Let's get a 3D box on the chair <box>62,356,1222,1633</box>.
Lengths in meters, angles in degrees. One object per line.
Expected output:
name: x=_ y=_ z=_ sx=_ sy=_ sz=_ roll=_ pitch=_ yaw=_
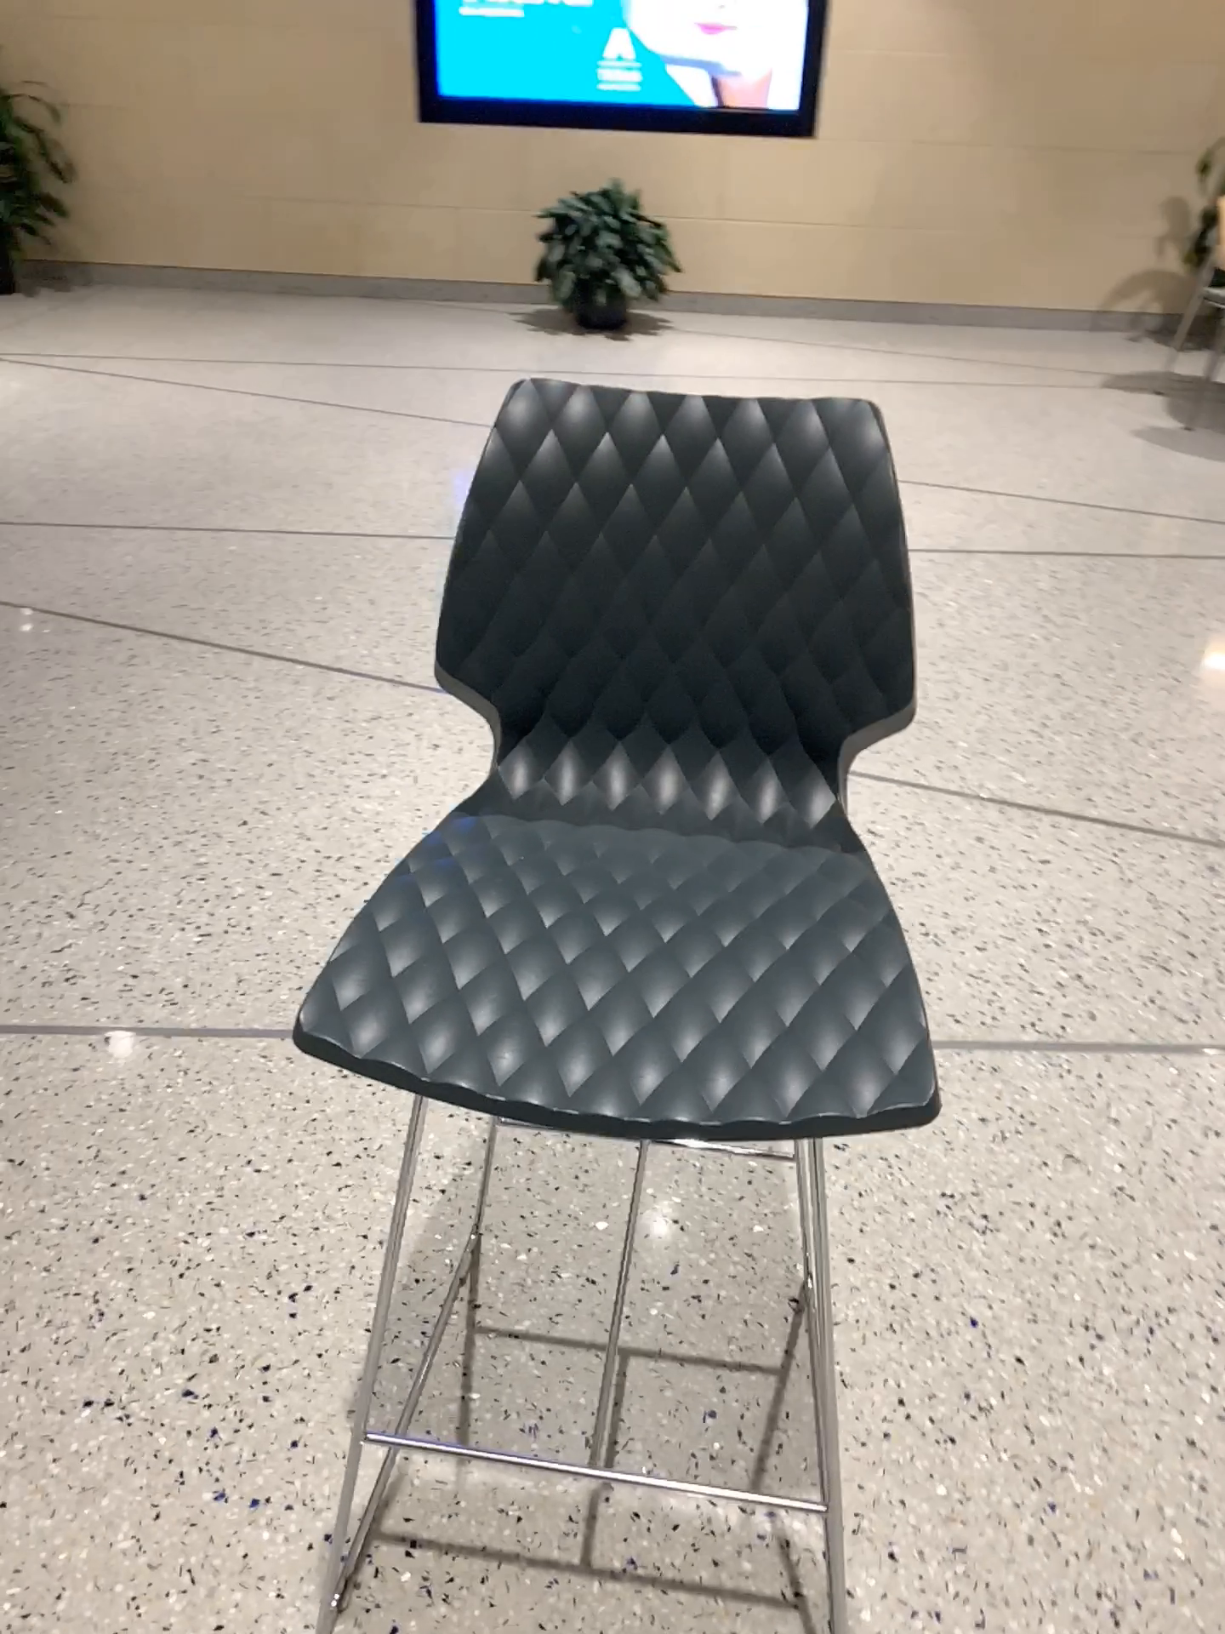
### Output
chair: x=0.027 y=0.208 z=1.052 sx=0.534 sy=0.995 sz=0.536 roll=7 pitch=32 yaw=8
